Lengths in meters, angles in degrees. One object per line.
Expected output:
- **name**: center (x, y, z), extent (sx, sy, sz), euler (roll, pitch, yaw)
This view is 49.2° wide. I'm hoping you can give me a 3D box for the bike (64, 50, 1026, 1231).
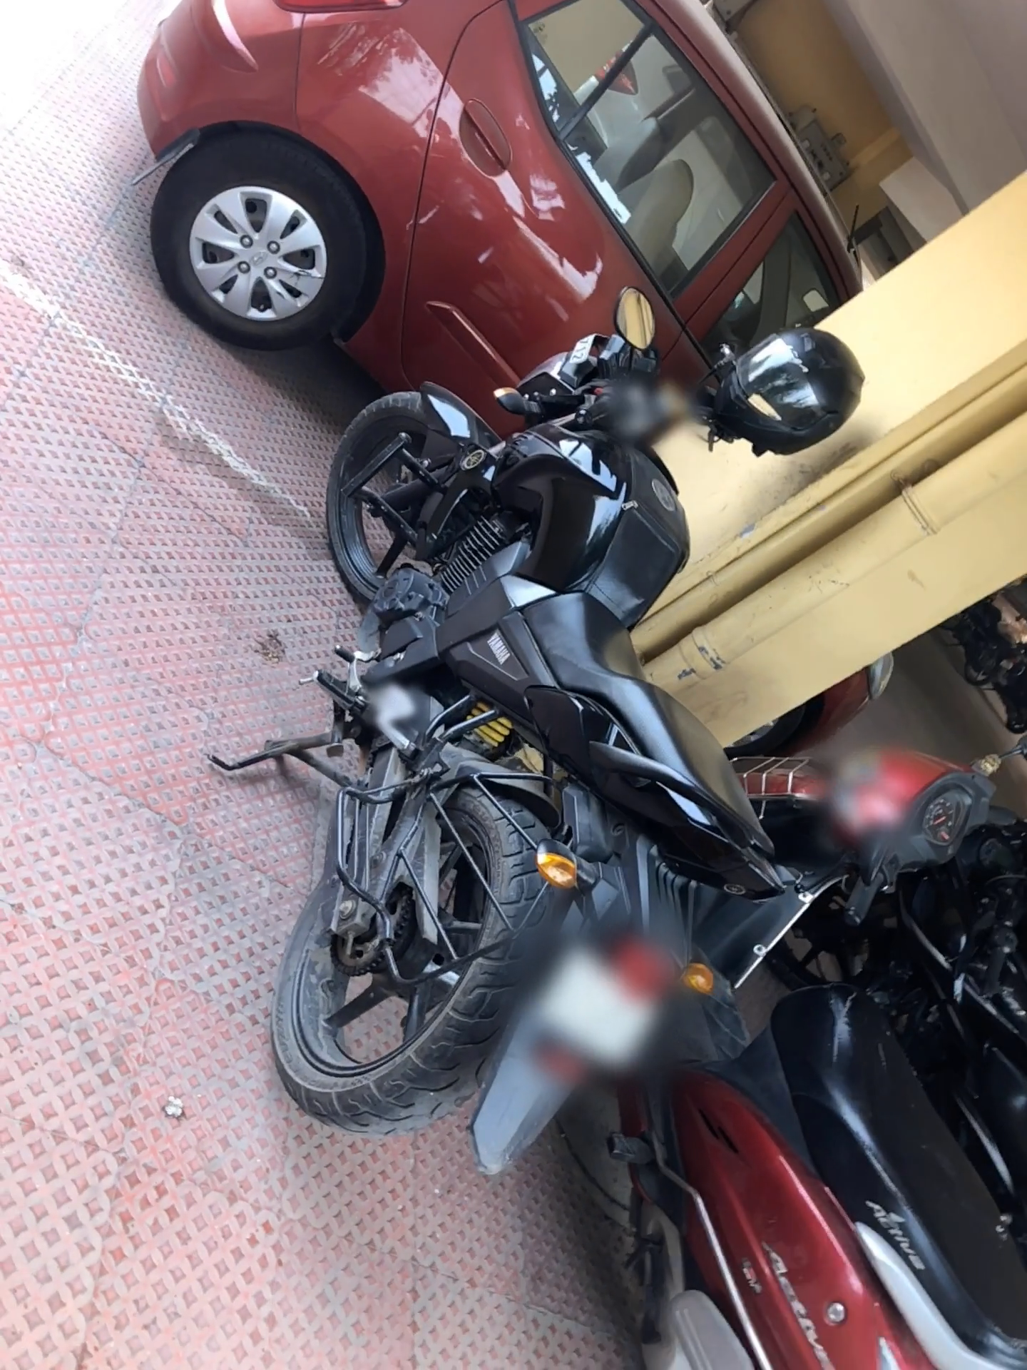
- **bike**: center (-0.072, -0.198, 2.071), extent (0.740, 1.026, 1.786), euler (38, 29, -37)
